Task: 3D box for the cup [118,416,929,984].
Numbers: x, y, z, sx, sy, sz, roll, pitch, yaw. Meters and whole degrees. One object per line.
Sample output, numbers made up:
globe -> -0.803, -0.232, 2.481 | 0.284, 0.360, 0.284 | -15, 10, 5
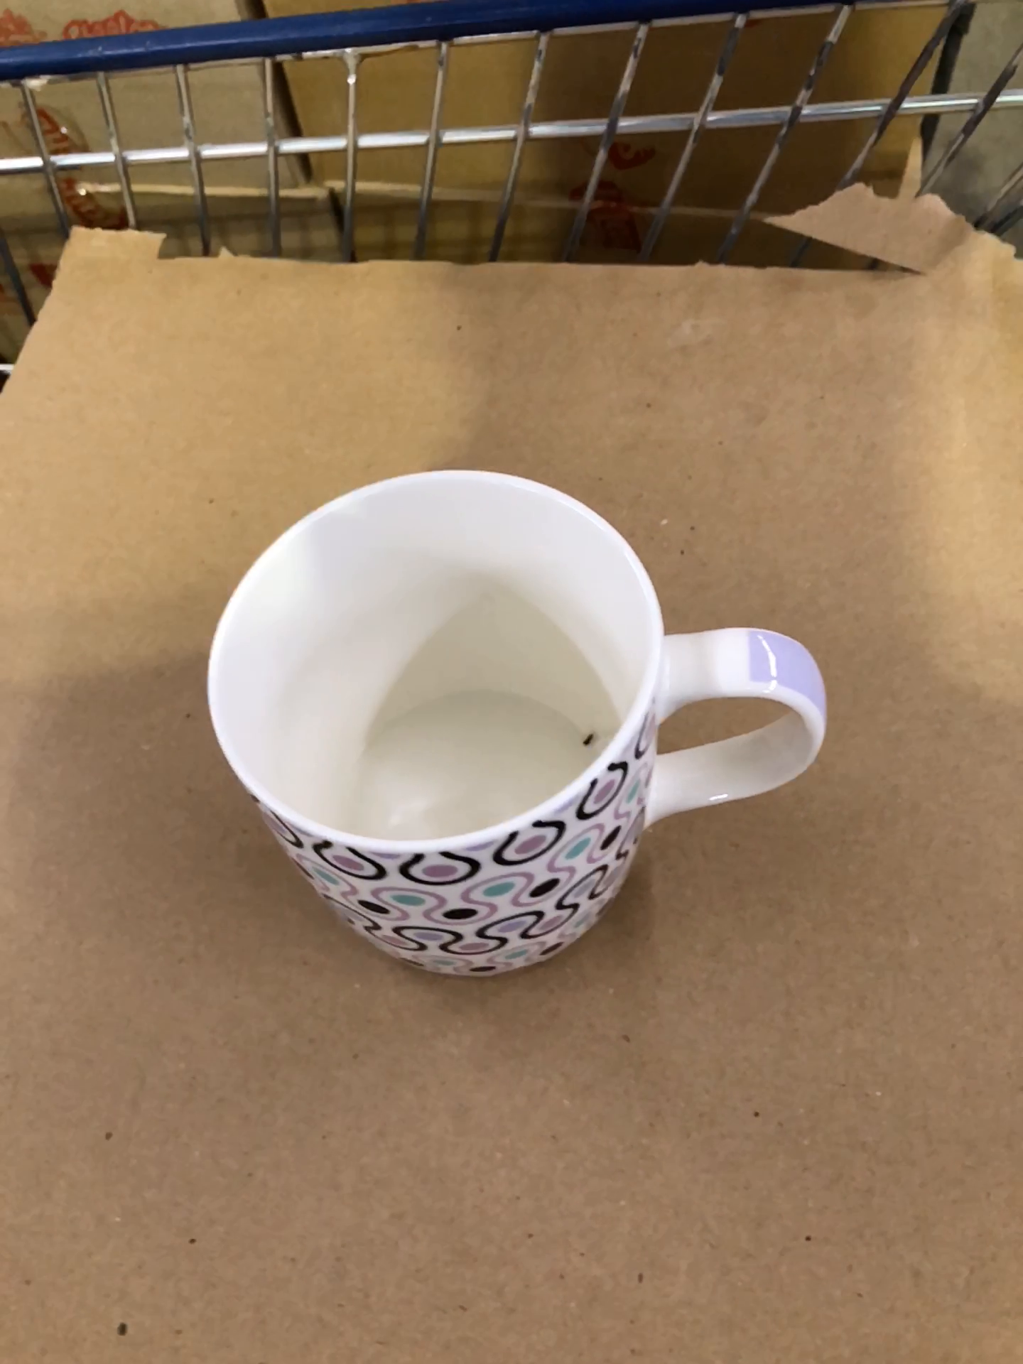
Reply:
cup -> 0.004, 0.009, 0.258 | 0.140, 0.090, 0.090 | -2, 58, 4
